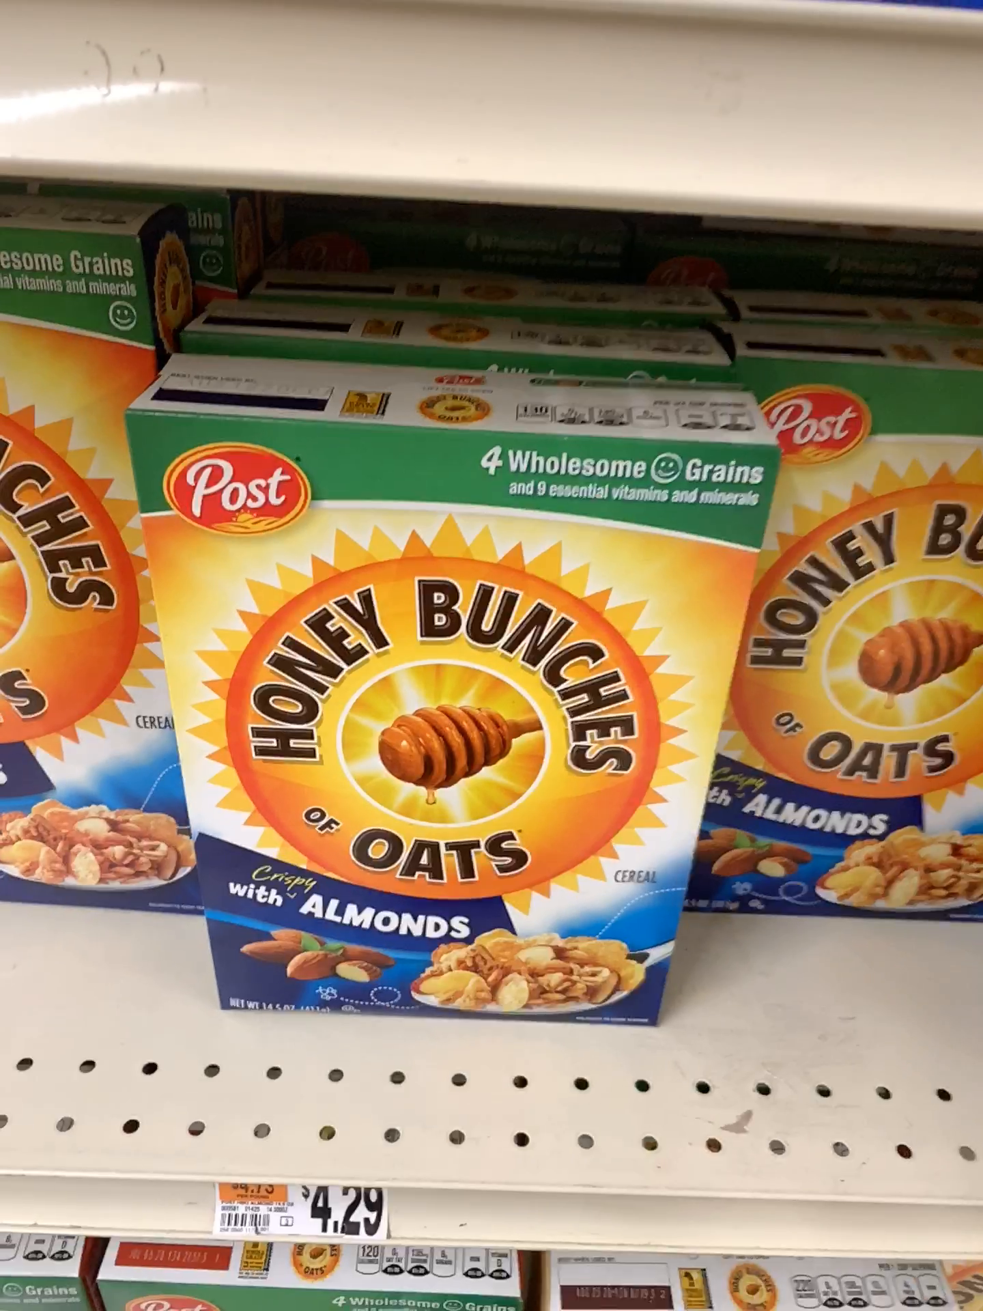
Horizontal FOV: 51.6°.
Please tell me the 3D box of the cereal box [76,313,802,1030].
[{"bbox_3d":[-0.020,0.026,0.384,0.200,0.278,0.060,3,35,-1],"label":"cereal box"}]
